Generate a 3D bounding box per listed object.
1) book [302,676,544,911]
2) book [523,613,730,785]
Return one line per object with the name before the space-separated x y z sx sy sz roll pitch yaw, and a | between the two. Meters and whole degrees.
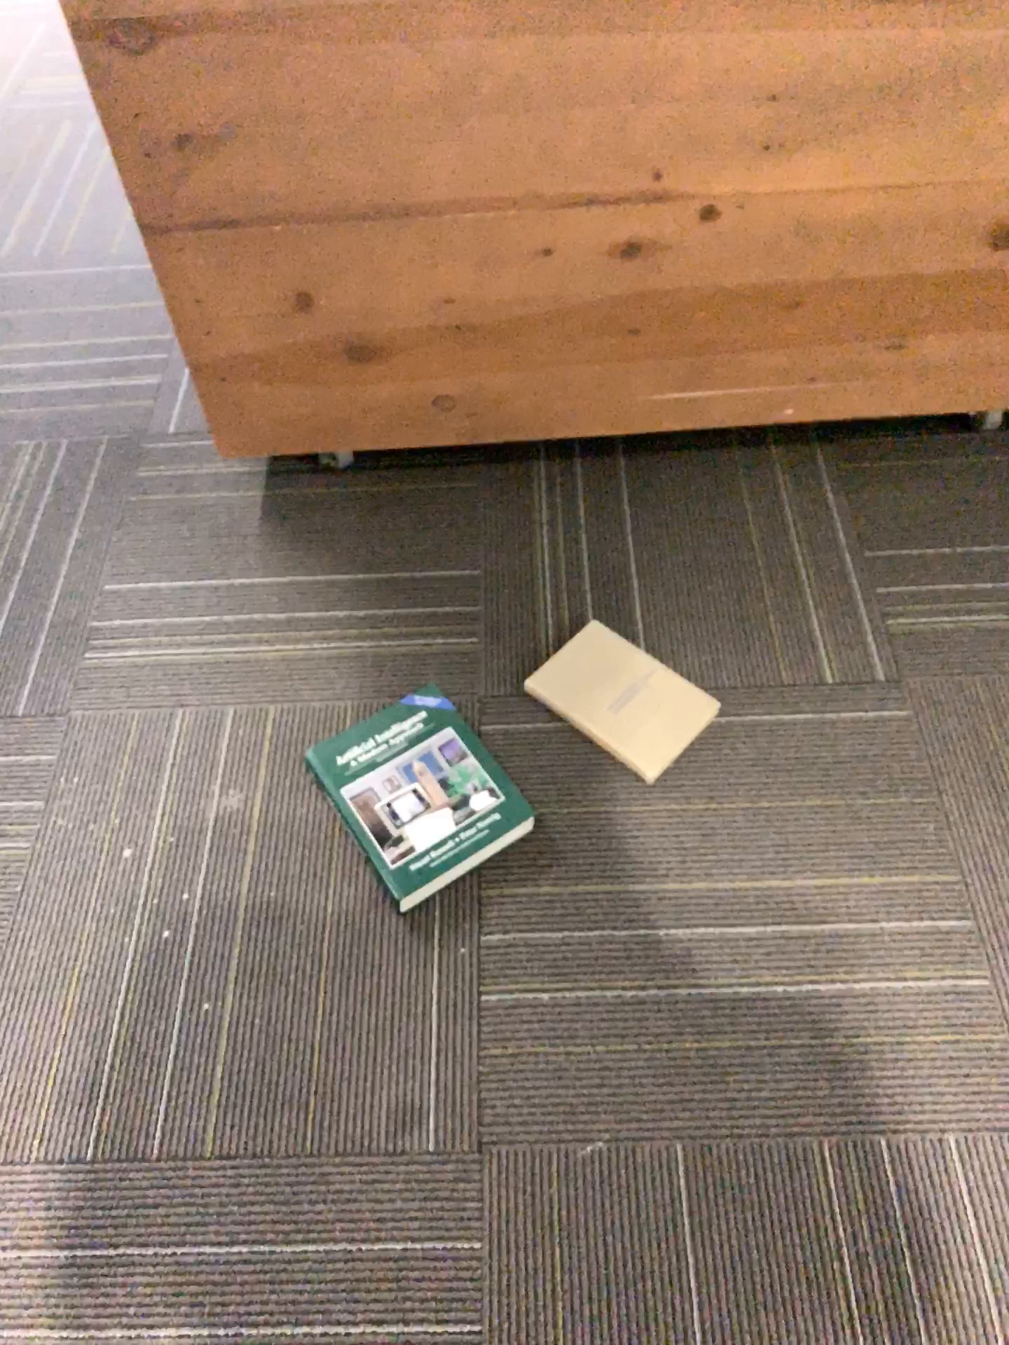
book | -0.109 0.149 1.364 0.210 0.030 0.261 -30 57 -17
book | 0.169 0.030 1.457 0.241 0.020 0.160 36 64 26
